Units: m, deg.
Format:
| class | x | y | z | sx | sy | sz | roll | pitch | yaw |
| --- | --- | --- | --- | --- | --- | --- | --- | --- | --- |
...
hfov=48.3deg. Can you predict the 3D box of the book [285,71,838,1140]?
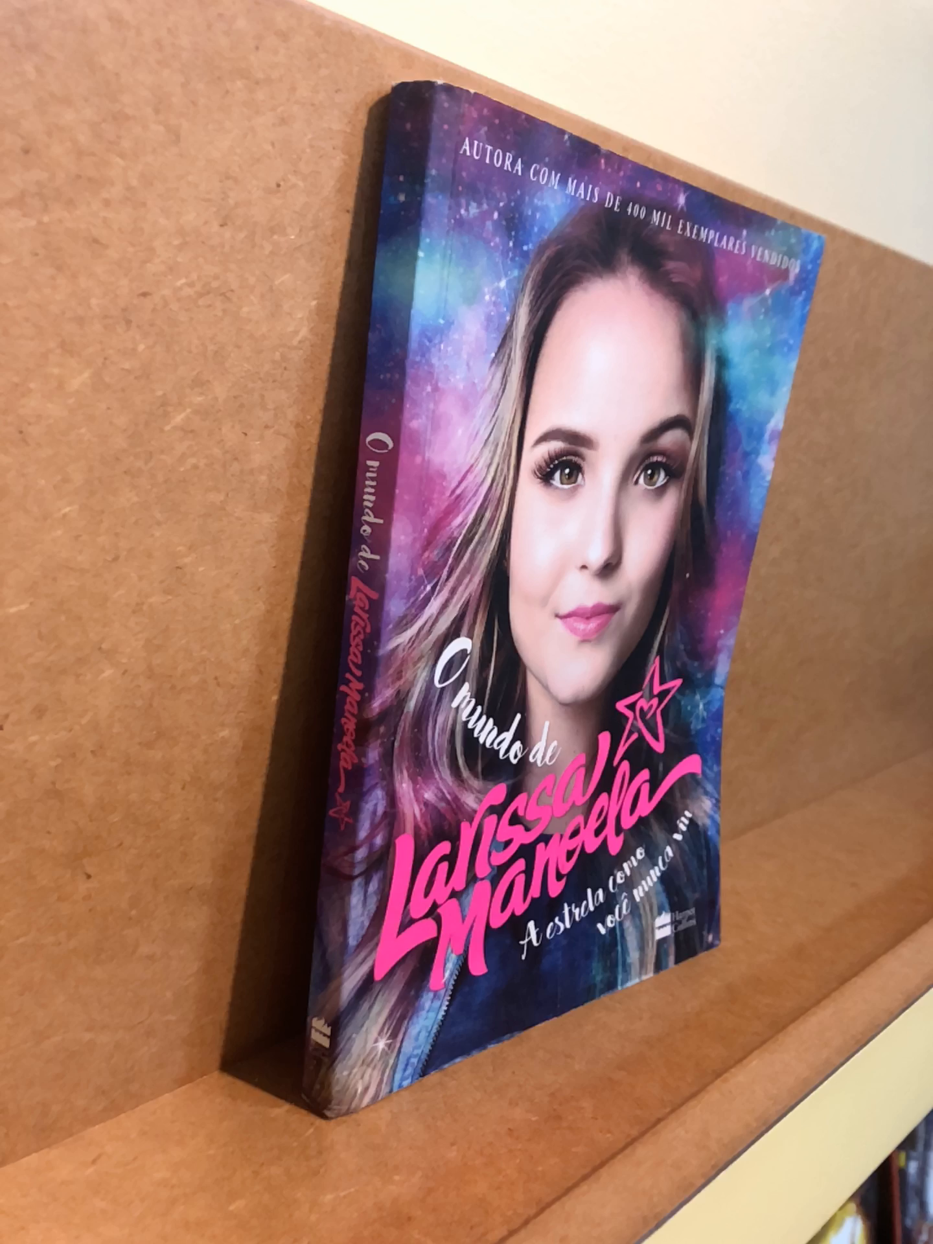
| class | x | y | z | sx | sy | sz | roll | pitch | yaw |
| --- | --- | --- | --- | --- | --- | --- | --- | --- | --- |
| book | 0.030 | 0.000 | 0.269 | 0.150 | 0.222 | 0.020 | -5 | 16 | -43 |
